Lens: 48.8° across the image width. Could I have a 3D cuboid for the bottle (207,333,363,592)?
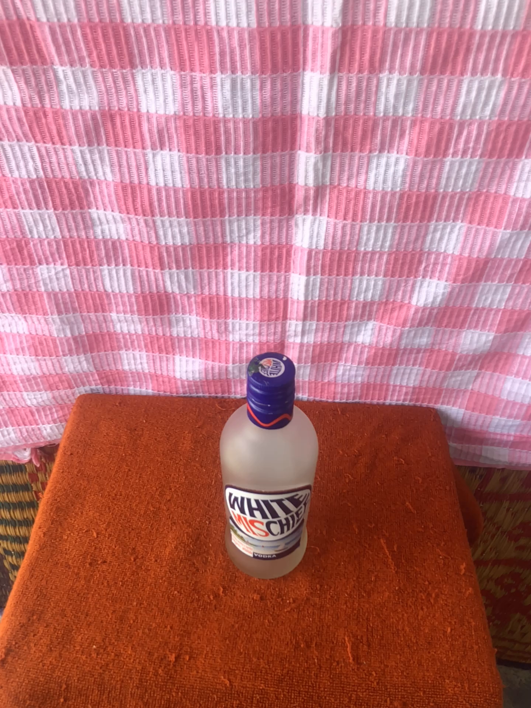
[{"bbox_3d":[0.008,0.084,0.394,0.080,0.199,0.070,4,46,0],"label":"bottle"}]
